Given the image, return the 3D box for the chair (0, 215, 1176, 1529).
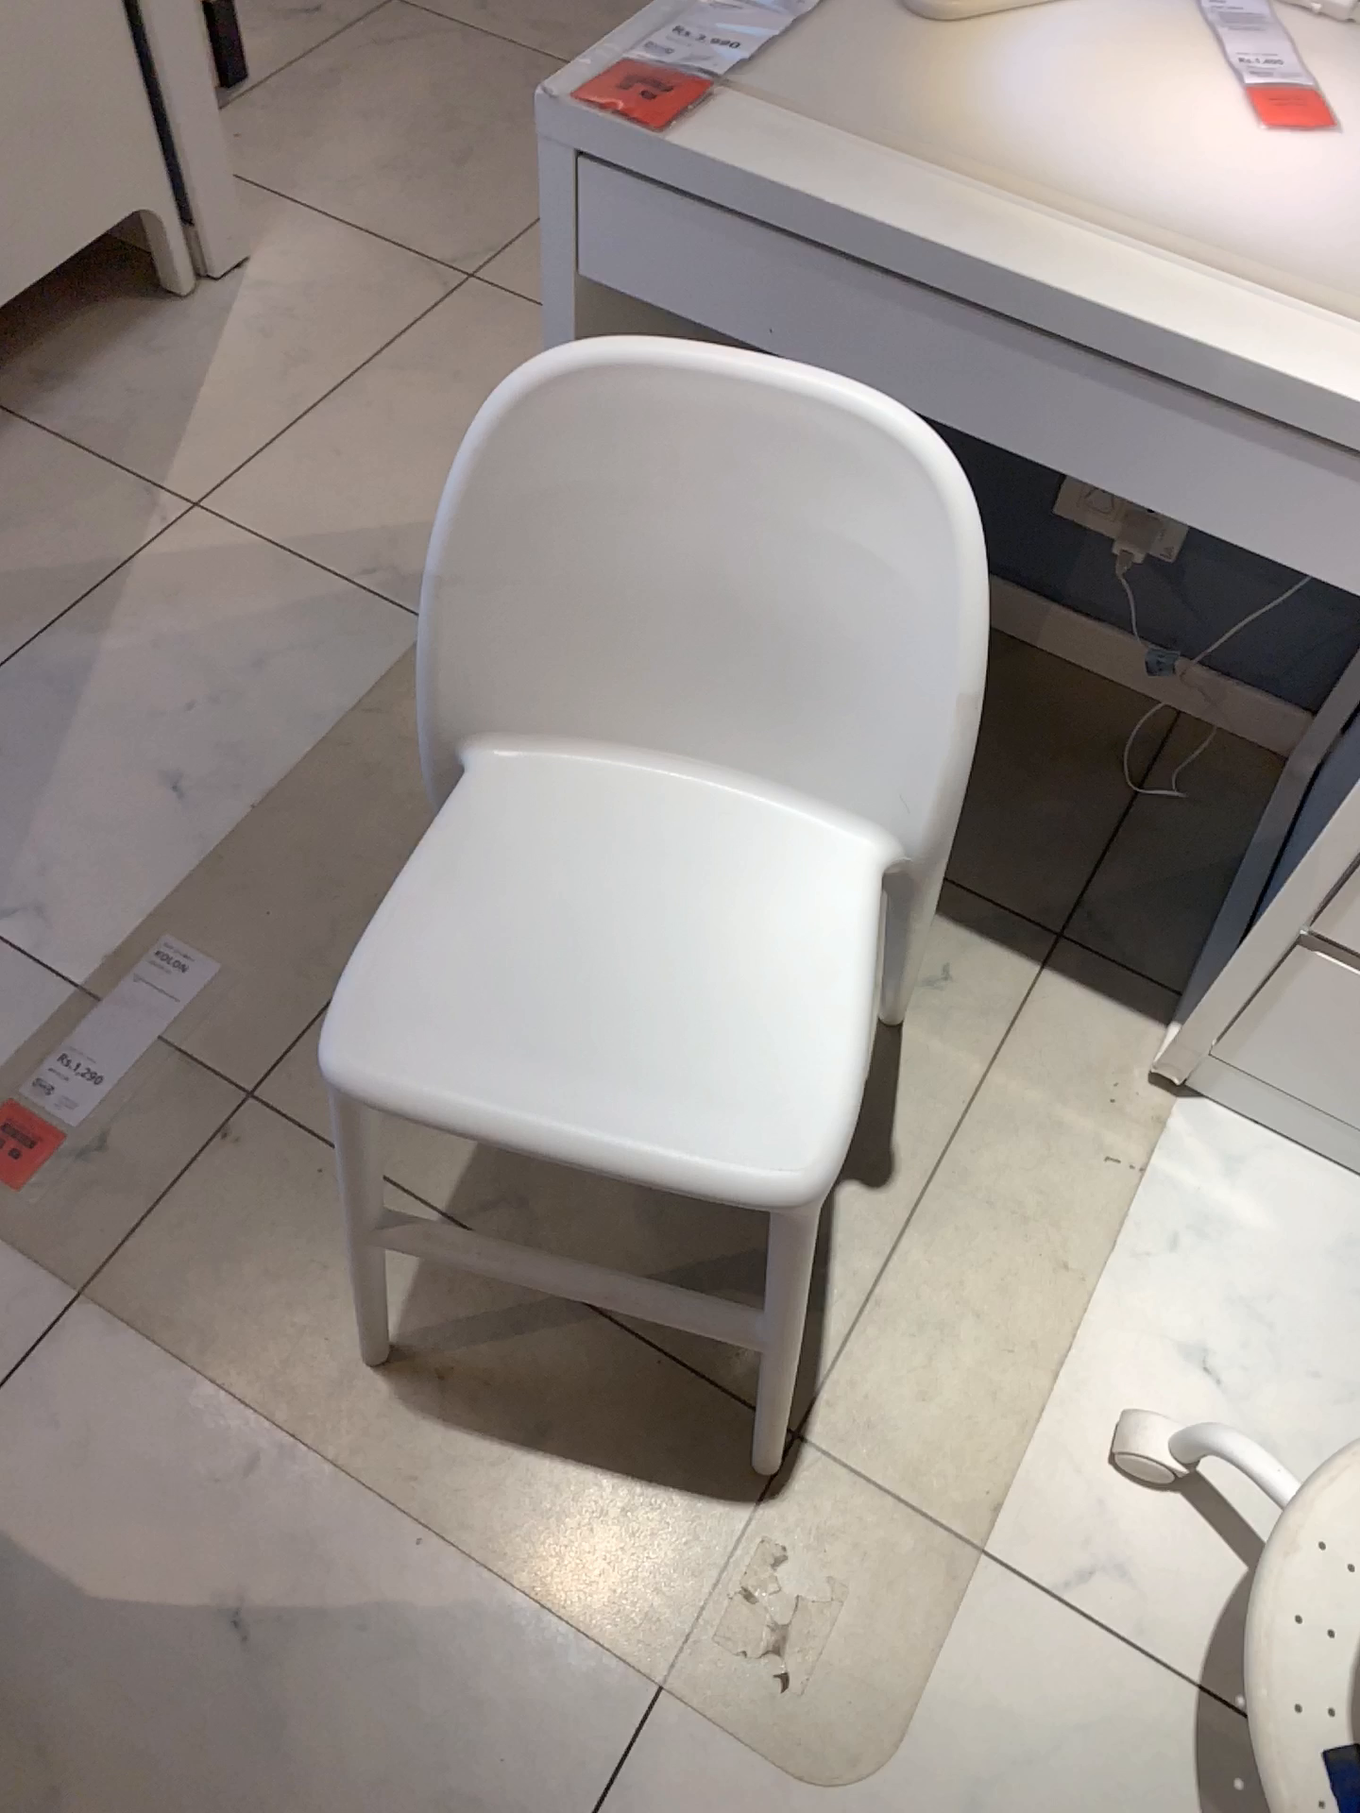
[{"bbox_3d":[-0.027,0.047,0.960,0.450,0.728,0.491,15,57,6],"label":"chair"}]
